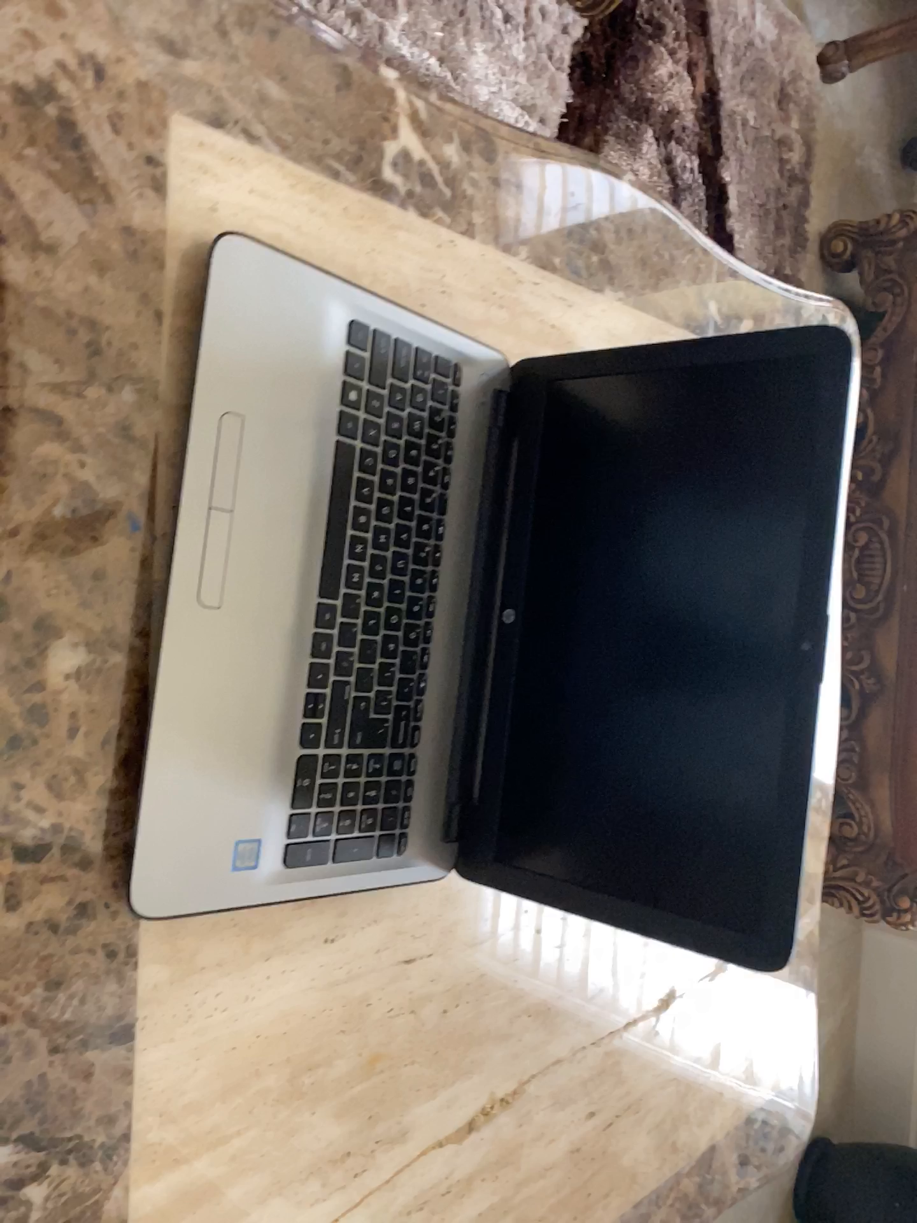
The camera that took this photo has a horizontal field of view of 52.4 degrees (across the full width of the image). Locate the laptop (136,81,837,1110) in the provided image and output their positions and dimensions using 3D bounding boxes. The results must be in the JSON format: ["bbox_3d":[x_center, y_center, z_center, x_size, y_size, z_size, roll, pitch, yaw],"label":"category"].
[{"bbox_3d":[0.023,-0.001,0.516,0.266,0.240,0.371,8,88,-47],"label":"laptop"}]
